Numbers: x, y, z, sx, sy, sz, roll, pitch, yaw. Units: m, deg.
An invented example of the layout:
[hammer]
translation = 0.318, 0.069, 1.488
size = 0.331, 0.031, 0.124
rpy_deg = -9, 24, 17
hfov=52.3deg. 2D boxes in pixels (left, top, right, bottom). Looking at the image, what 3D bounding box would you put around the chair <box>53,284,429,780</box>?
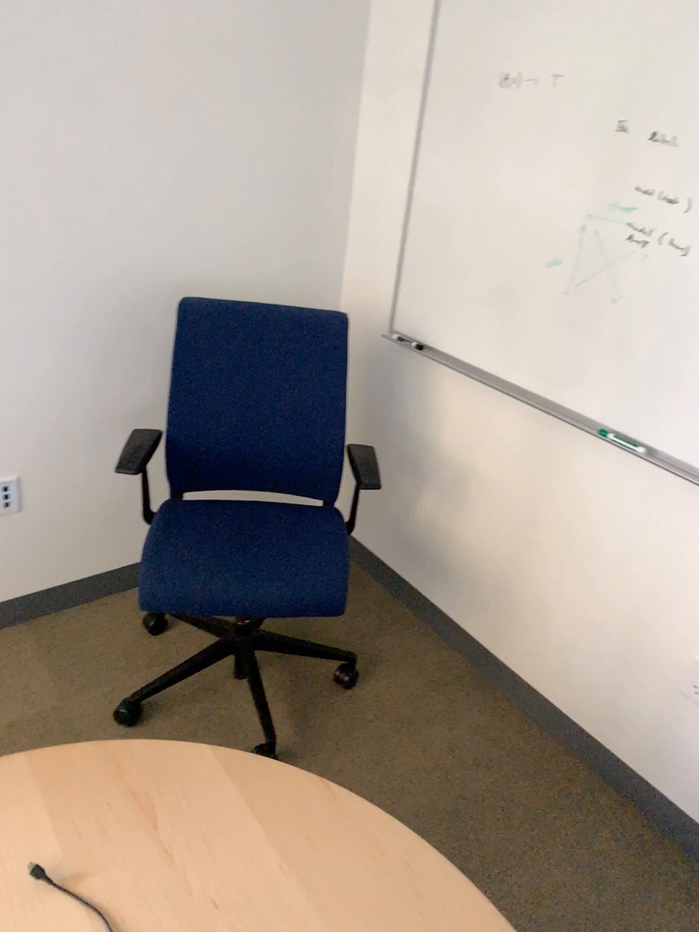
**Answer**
[chair]
translation = -0.262, 0.121, 2.062
size = 0.740, 0.995, 0.986
rpy_deg = 5, 27, -3
